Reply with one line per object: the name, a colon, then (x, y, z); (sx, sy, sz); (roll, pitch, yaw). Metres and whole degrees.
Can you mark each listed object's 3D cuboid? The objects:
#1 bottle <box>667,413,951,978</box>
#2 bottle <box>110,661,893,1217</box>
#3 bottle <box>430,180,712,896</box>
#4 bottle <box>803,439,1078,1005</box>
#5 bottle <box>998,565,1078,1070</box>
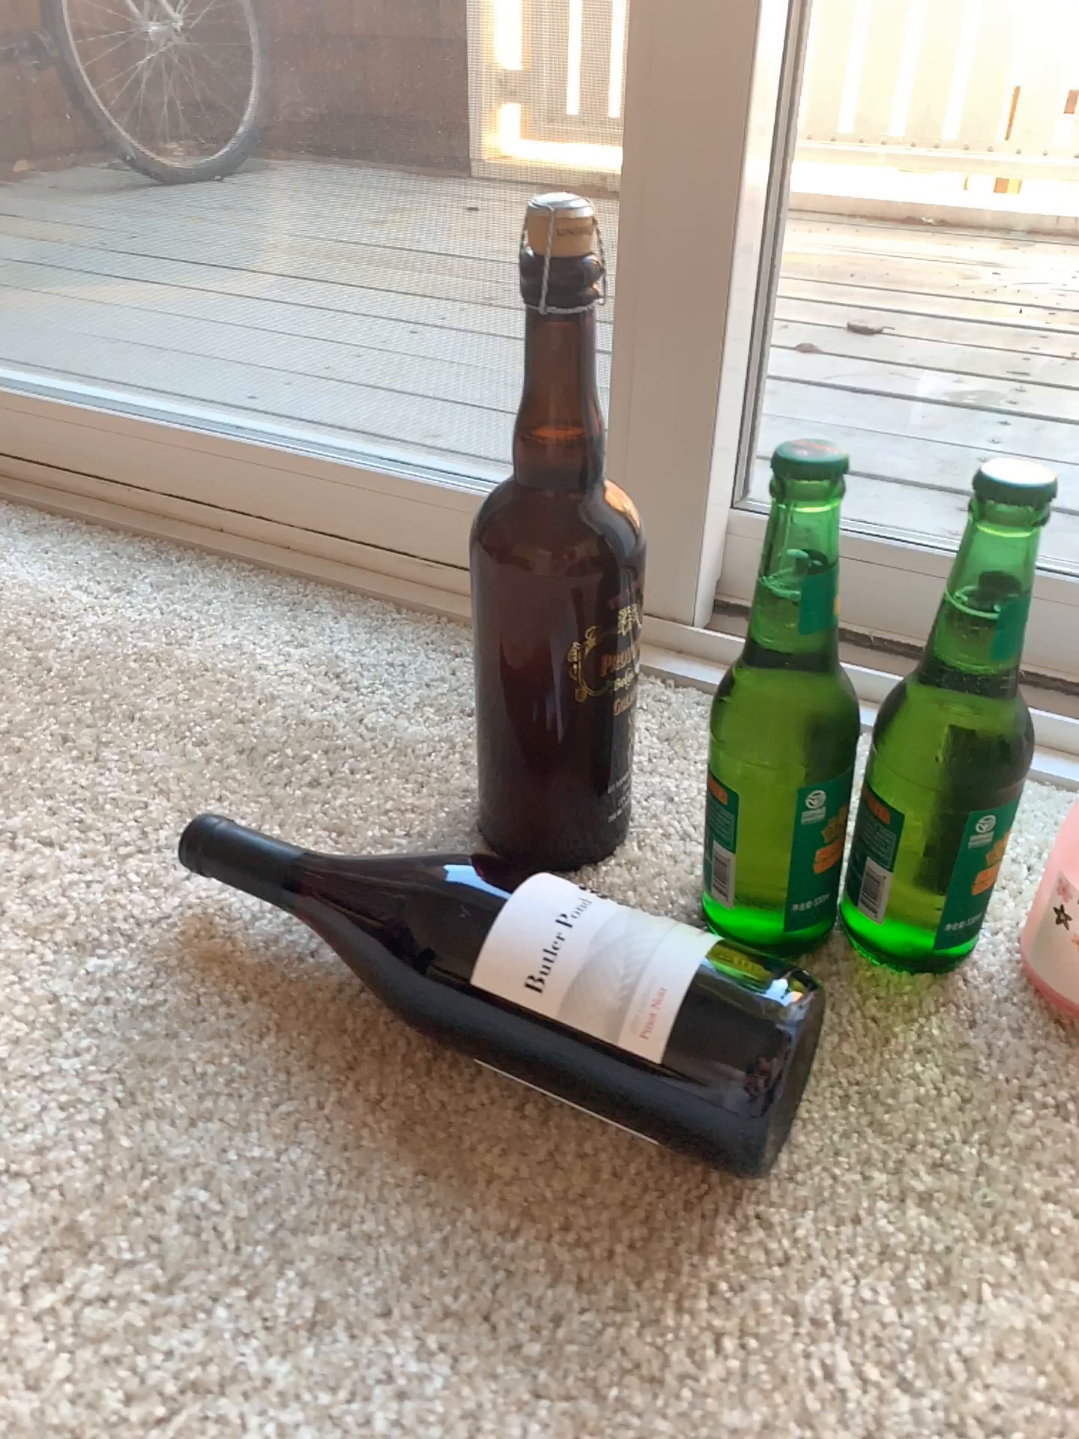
bottle: (0.103, -0.005, 0.443); (0.070, 0.209, 0.070); (1, 33, -1)
bottle: (-0.023, 0.073, 0.420); (0.281, 0.080, 0.070); (21, 37, 16)
bottle: (0.011, -0.068, 0.481); (0.080, 0.288, 0.080); (1, 33, -1)
bottle: (0.171, 0.006, 0.462); (0.070, 0.219, 0.070); (1, 33, -1)
bottle: (0.244, 0.041, 0.438); (0.070, 0.179, 0.070); (1, 33, -1)
